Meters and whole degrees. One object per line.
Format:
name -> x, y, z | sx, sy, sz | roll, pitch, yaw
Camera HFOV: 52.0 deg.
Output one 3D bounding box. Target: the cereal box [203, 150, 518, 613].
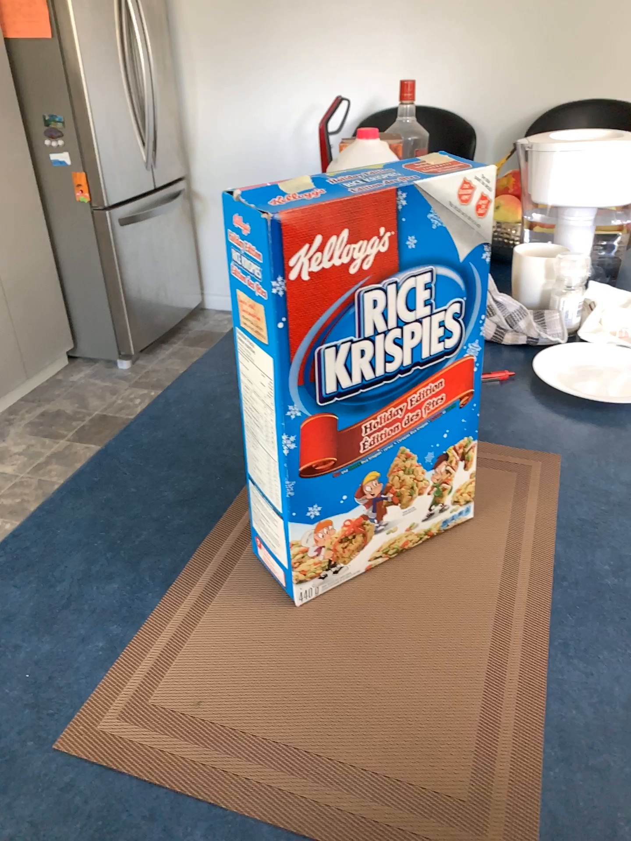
cereal box -> 0.045, -0.035, 0.537 | 0.221, 0.327, 0.080 | -20, 32, -28
